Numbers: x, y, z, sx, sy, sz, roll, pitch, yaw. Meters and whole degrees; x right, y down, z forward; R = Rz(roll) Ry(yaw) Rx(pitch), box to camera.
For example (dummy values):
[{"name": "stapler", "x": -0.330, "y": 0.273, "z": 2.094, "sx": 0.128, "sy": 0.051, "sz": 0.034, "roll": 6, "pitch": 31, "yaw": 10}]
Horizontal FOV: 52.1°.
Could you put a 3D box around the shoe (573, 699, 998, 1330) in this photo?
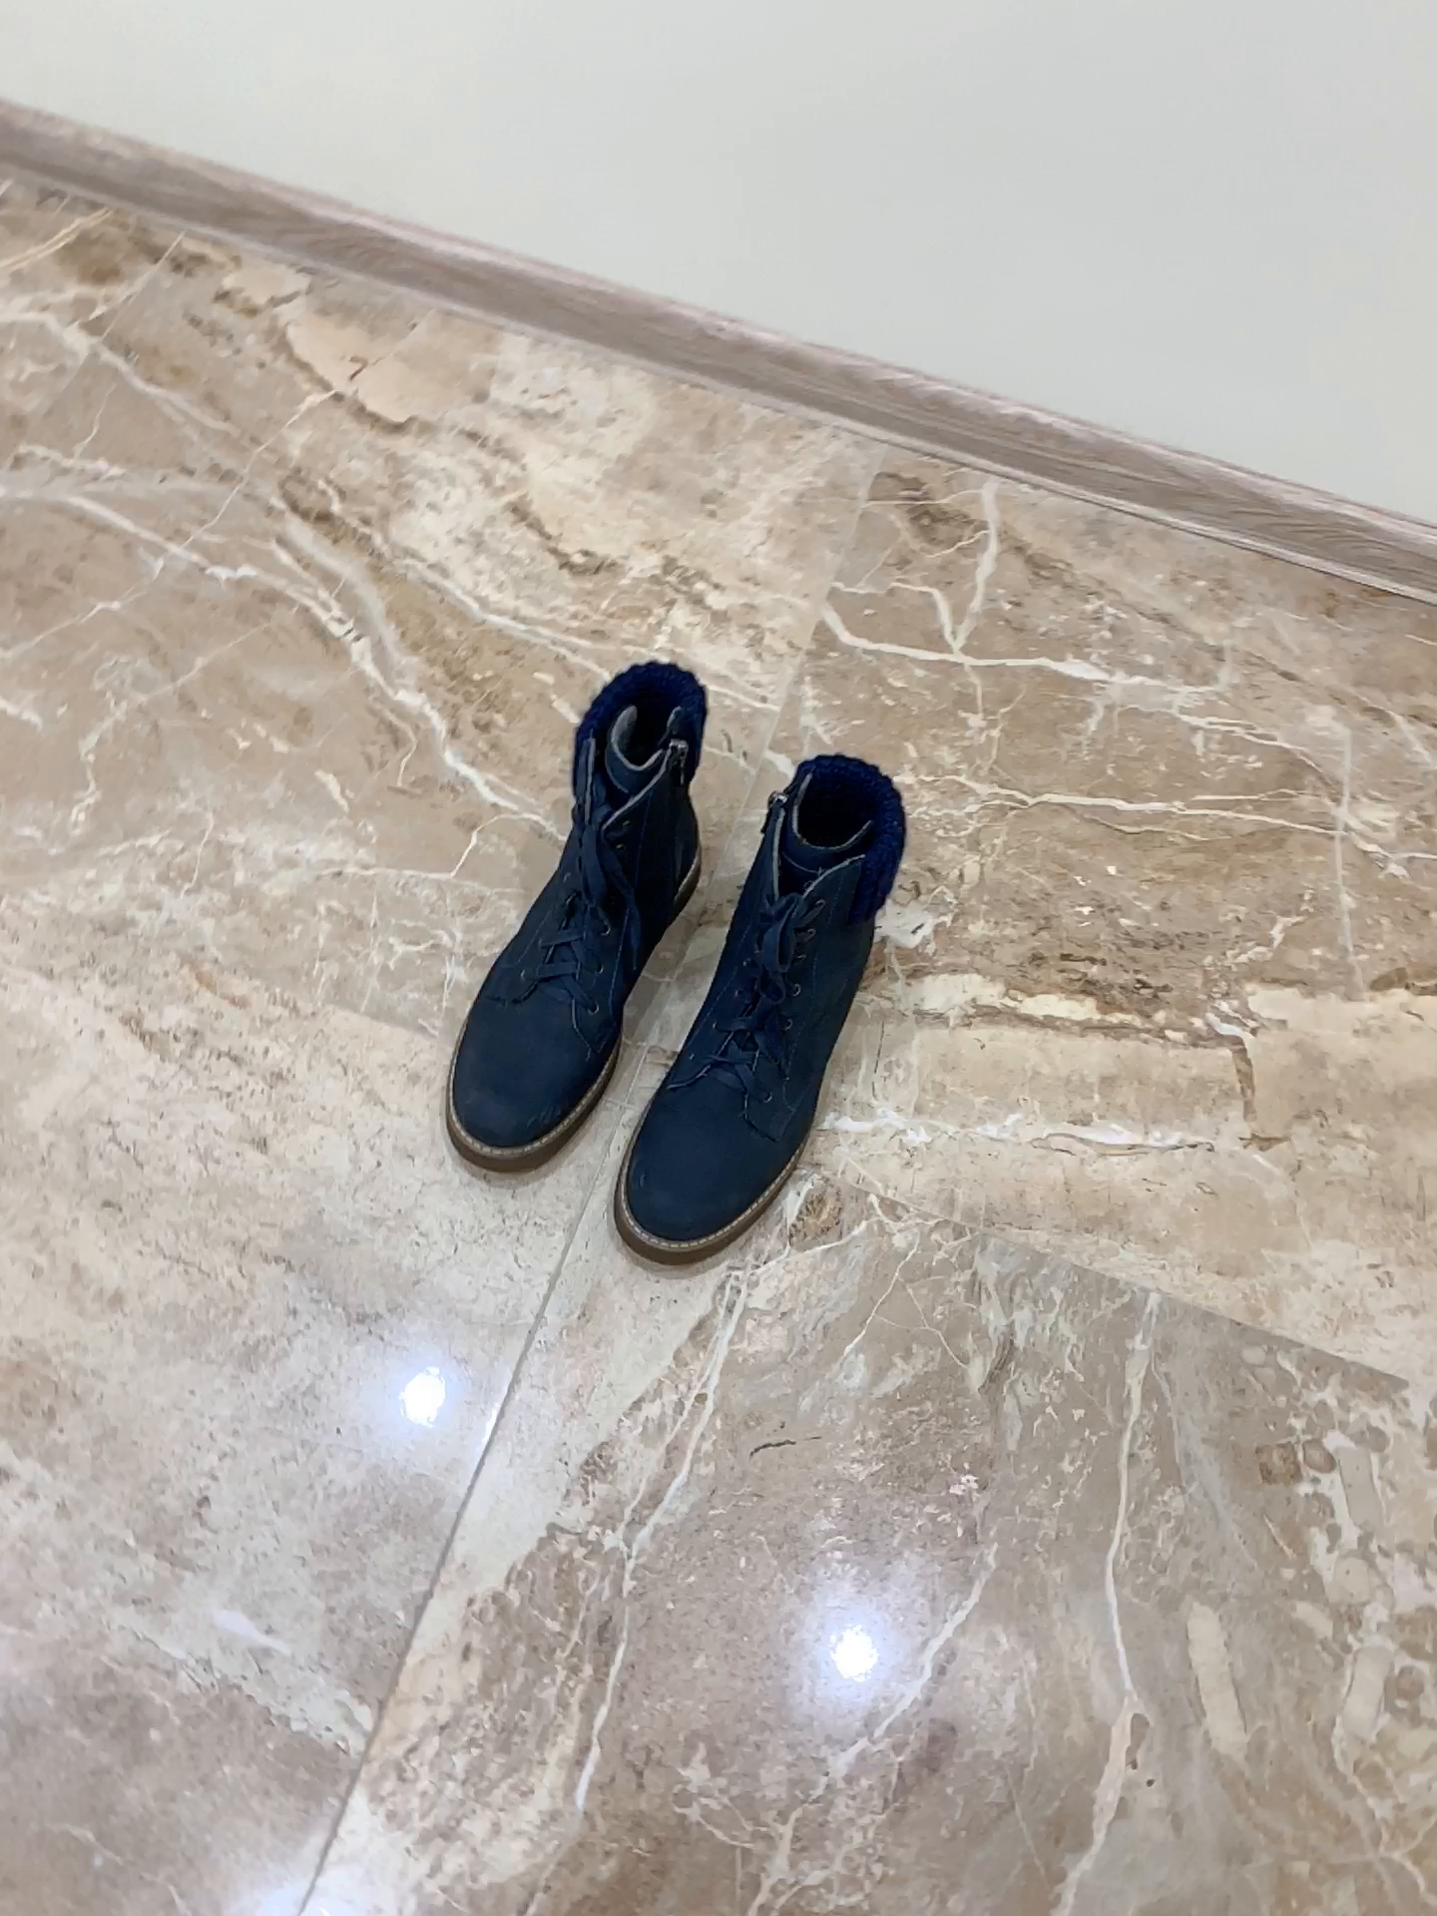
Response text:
[{"name": "shoe", "x": 0.032, "y": 0.036, "z": 0.780, "sx": 0.101, "sy": 0.199, "sz": 0.261, "roll": 25, "pitch": 65, "yaw": 8}]

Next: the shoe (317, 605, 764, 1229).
[{"name": "shoe", "x": -0.084, "y": -0.017, "z": 0.797, "sx": 0.101, "sy": 0.199, "sz": 0.261, "roll": 25, "pitch": 65, "yaw": 8}]
